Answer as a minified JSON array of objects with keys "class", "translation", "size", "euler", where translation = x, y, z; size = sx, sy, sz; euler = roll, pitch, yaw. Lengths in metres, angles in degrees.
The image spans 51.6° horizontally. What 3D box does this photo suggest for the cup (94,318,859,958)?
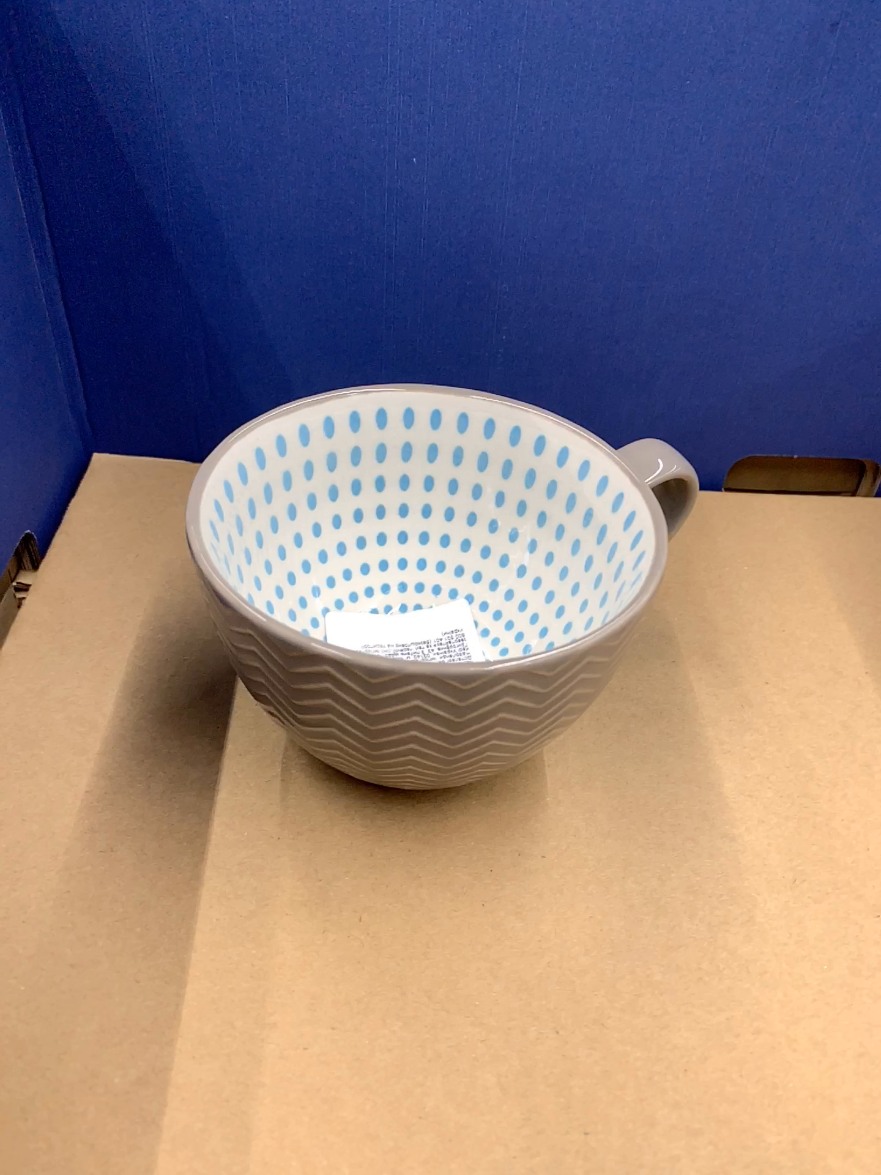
[{"class":"cup","translation":[0.009,-0.005,0.240],"size":[0.143,0.061,0.119],"euler":[-26,48,-31]}]
